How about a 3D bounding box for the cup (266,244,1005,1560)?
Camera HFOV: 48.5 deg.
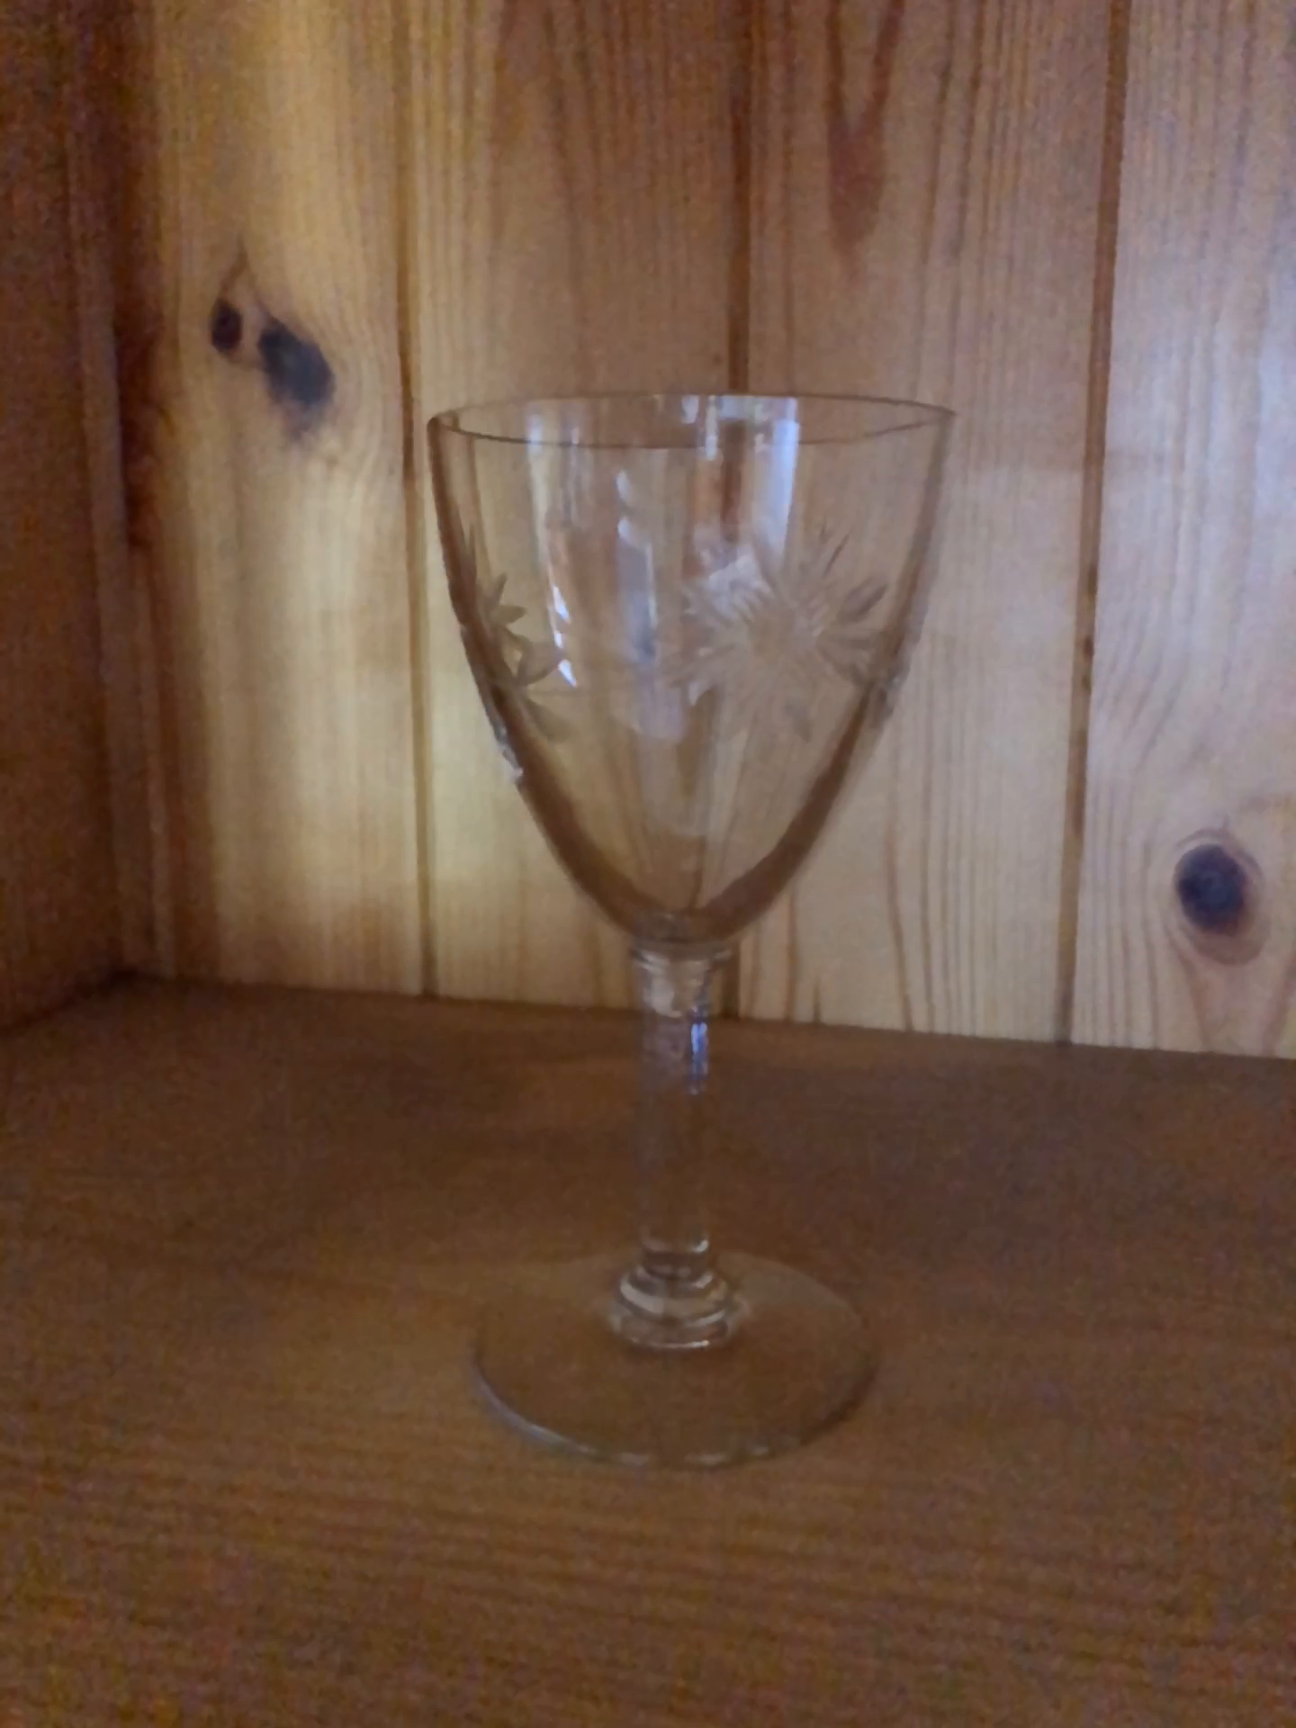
[{"bbox_3d":[0.002,0.000,0.195,0.070,0.140,0.070,0,11,0],"label":"cup"}]
